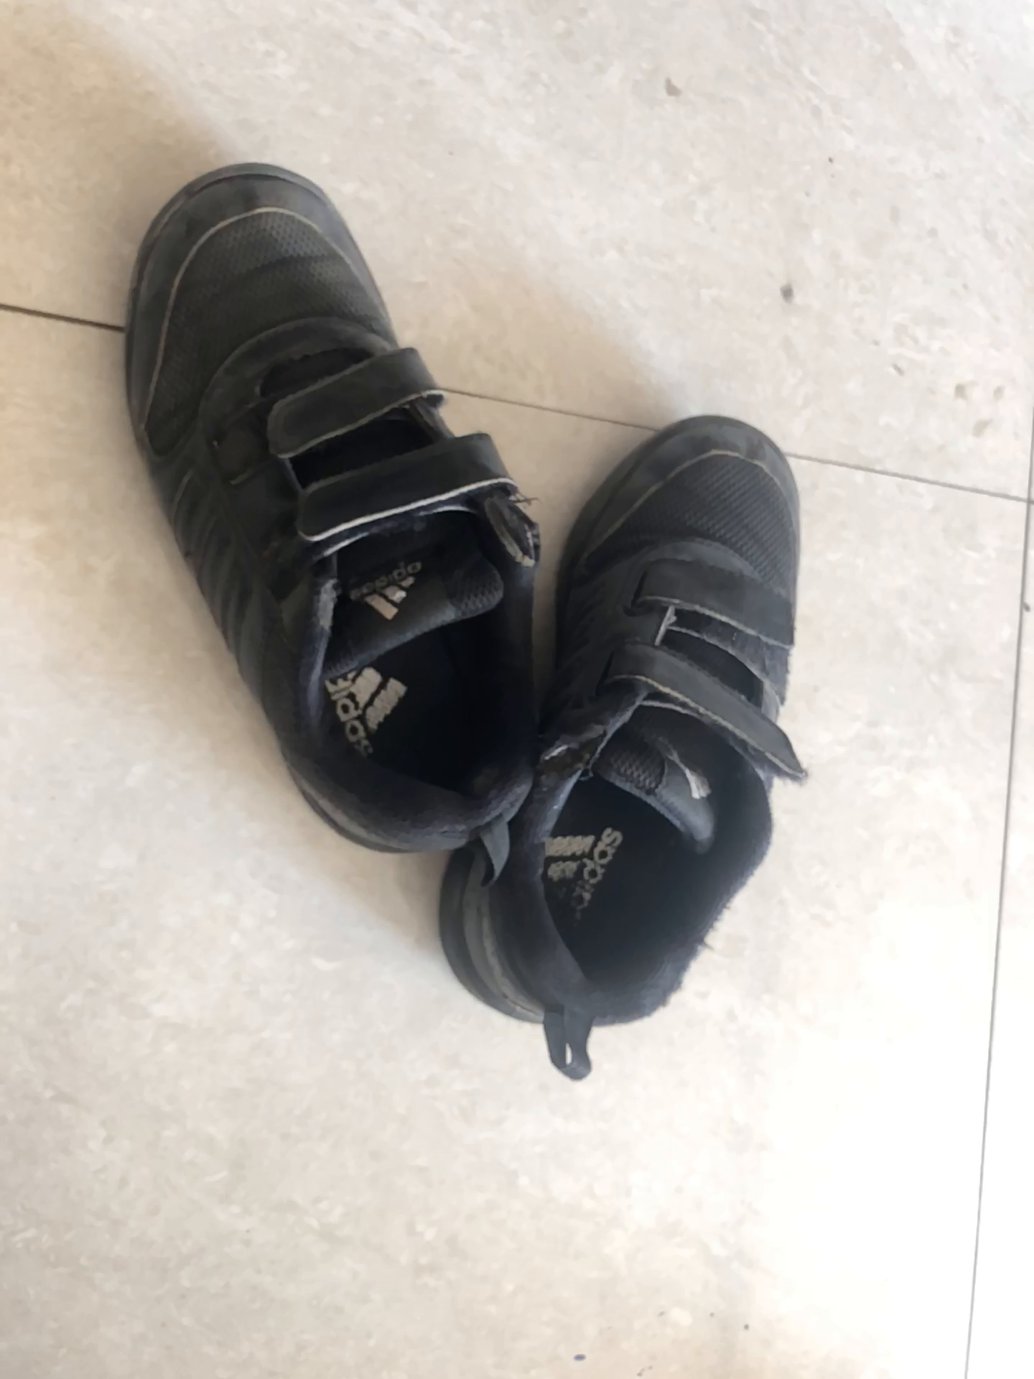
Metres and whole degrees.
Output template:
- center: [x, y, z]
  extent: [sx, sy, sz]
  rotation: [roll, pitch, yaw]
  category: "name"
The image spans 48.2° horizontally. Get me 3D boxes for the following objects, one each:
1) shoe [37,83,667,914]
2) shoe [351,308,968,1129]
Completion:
- center: [-0.050, -0.052, 0.346]
  extent: [0.100, 0.080, 0.200]
  rotation: [-24, 97, -18]
  category: "shoe"
- center: [0.043, 0.009, 0.387]
  extent: [0.100, 0.100, 0.220]
  rotation: [25, 81, -17]
  category: "shoe"
